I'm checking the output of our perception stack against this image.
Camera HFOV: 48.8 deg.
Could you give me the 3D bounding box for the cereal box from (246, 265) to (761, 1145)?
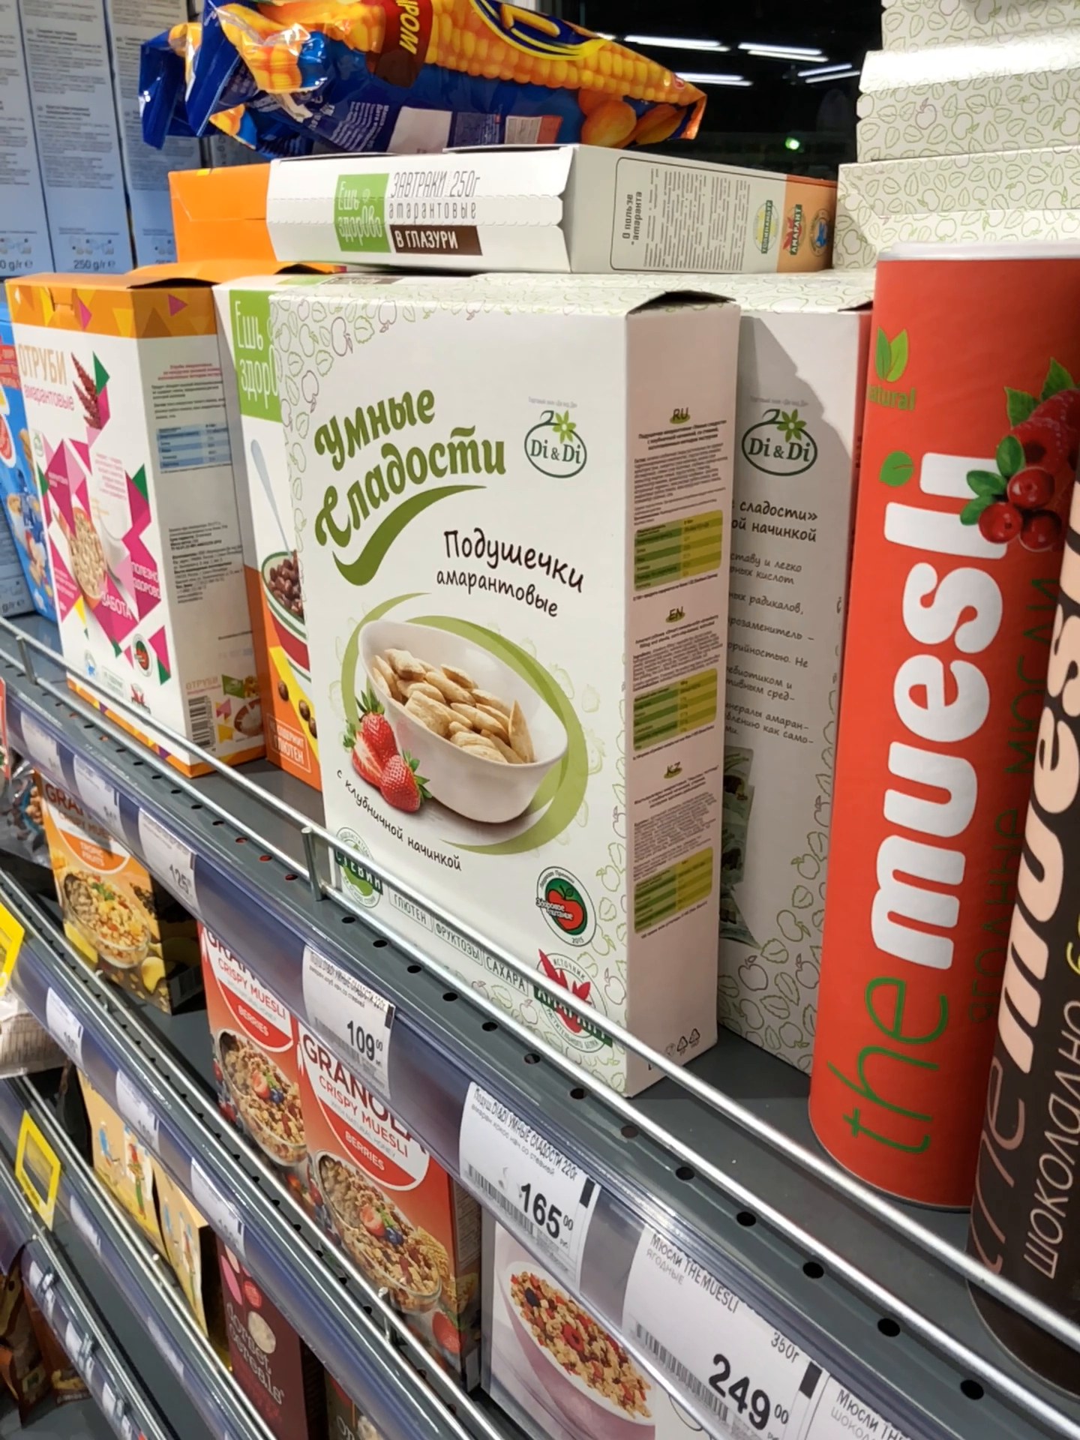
[{"bbox_3d":[-0.021,-0.020,0.418,0.050,0.259,0.201,-18,27,-35],"label":"cereal box"}]
